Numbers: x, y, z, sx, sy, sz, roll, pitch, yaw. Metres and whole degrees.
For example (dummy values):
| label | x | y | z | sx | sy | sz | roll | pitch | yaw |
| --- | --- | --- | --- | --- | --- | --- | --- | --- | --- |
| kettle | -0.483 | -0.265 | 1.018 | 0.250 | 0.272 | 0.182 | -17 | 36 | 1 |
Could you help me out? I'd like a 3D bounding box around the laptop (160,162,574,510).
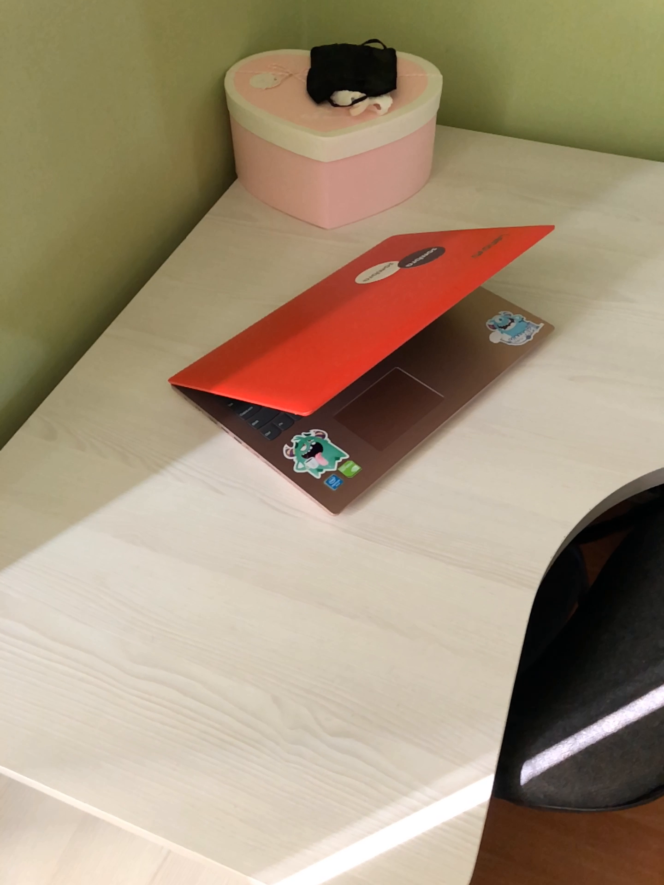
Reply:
| label | x | y | z | sx | sy | sz | roll | pitch | yaw |
| --- | --- | --- | --- | --- | --- | --- | --- | --- | --- |
| laptop | 0.046 | -0.136 | 0.784 | 0.232 | 0.112 | 0.367 | 37 | 59 | 26 |
